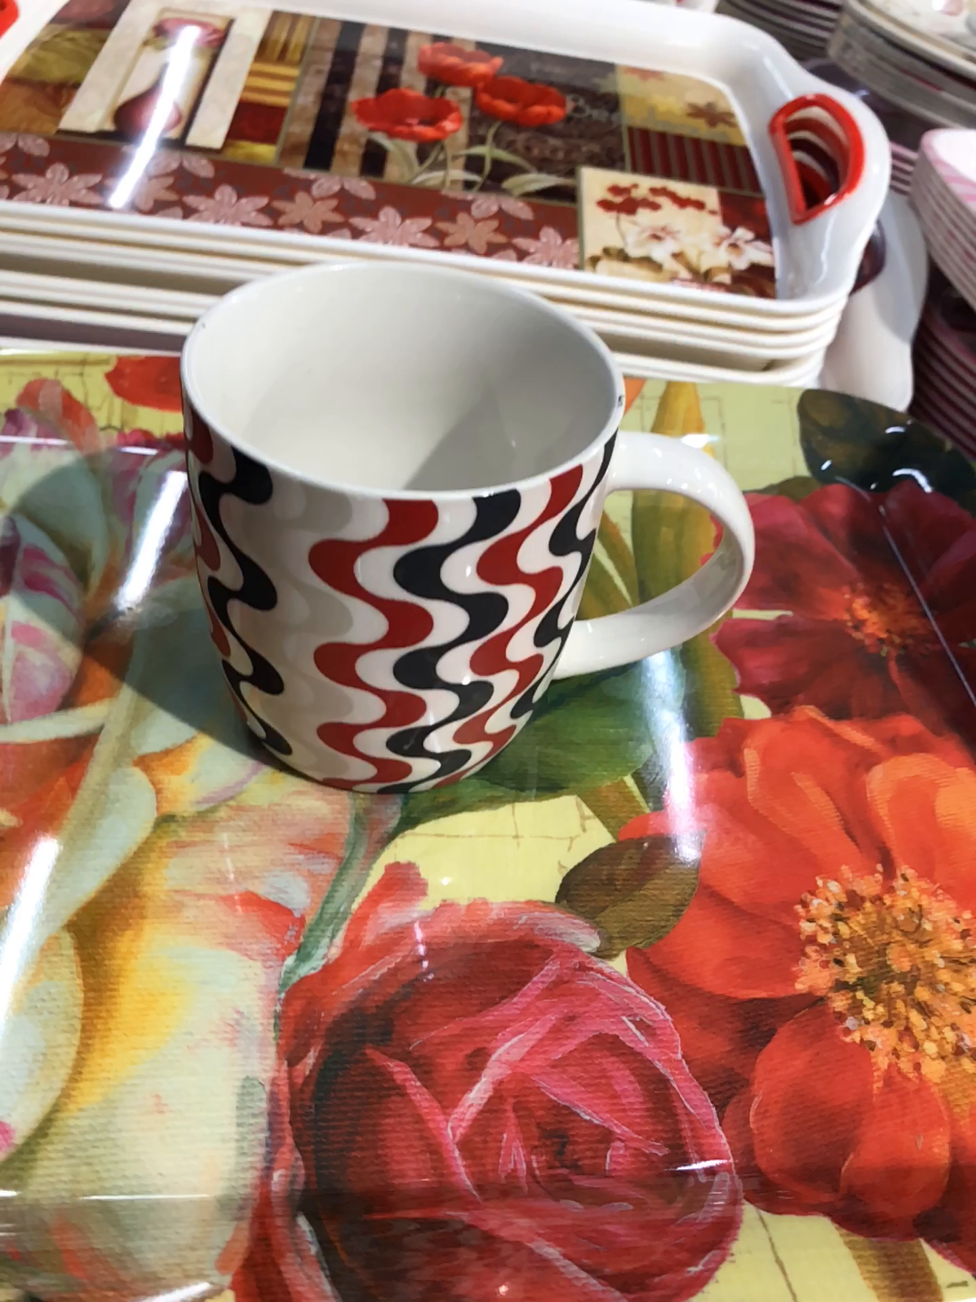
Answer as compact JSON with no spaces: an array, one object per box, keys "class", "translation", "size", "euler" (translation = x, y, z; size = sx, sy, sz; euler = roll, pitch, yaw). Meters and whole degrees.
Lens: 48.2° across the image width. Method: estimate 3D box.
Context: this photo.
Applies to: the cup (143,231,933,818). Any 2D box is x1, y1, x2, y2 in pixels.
[{"class":"cup","translation":[0.003,-0.027,0.236],"size":[0.130,0.079,0.091],"euler":[3,41,-8]}]
